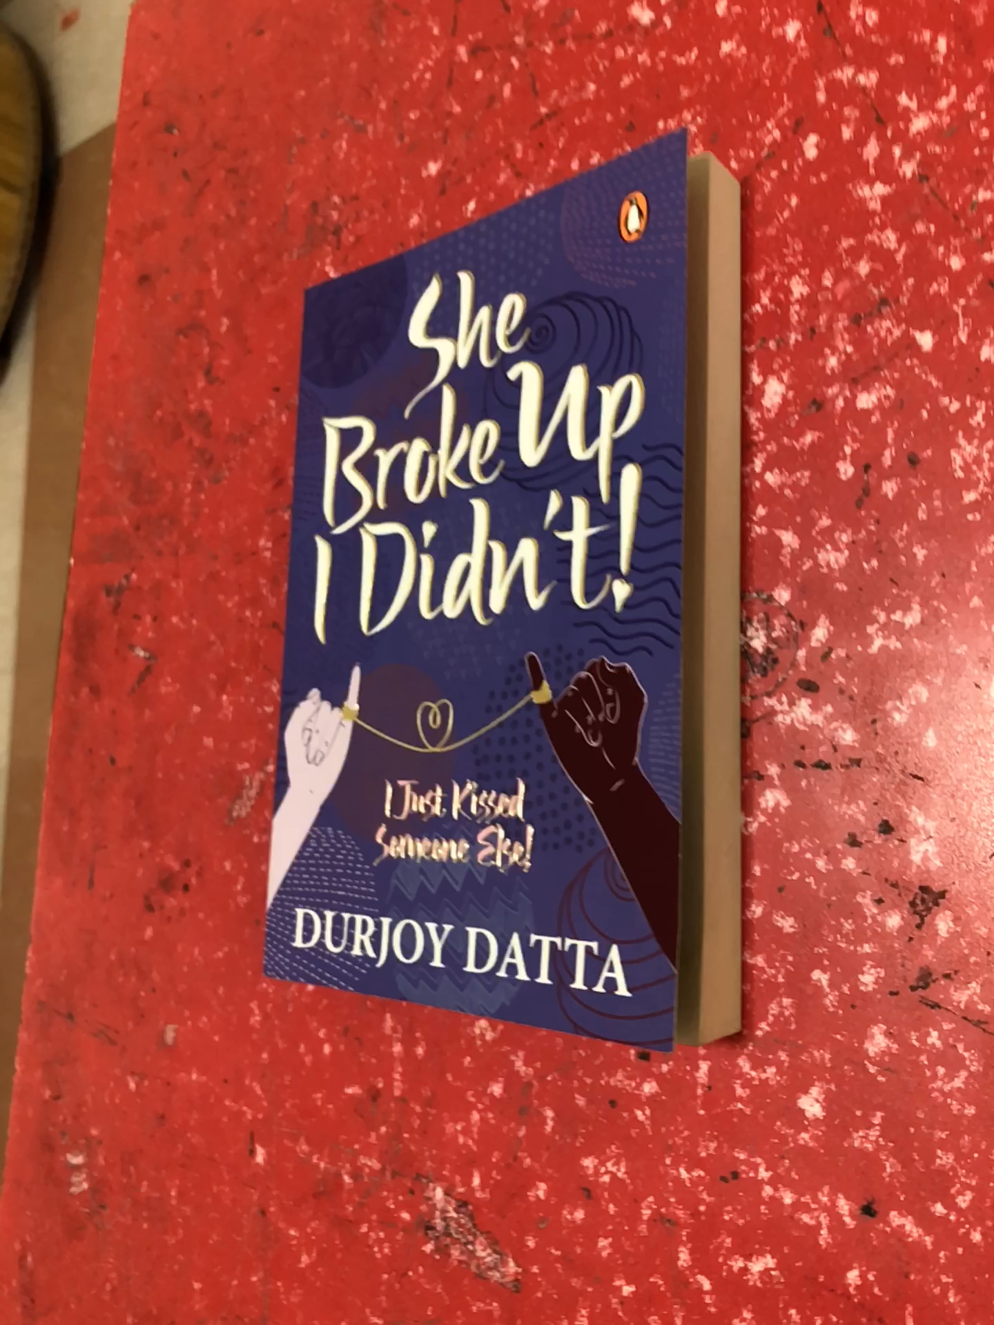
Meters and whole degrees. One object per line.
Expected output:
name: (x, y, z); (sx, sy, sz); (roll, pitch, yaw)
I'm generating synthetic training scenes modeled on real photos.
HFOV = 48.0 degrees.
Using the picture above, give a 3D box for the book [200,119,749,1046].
book: (-0.007, -0.015, 0.278); (0.131, 0.040, 0.190); (-4, 79, 36)
